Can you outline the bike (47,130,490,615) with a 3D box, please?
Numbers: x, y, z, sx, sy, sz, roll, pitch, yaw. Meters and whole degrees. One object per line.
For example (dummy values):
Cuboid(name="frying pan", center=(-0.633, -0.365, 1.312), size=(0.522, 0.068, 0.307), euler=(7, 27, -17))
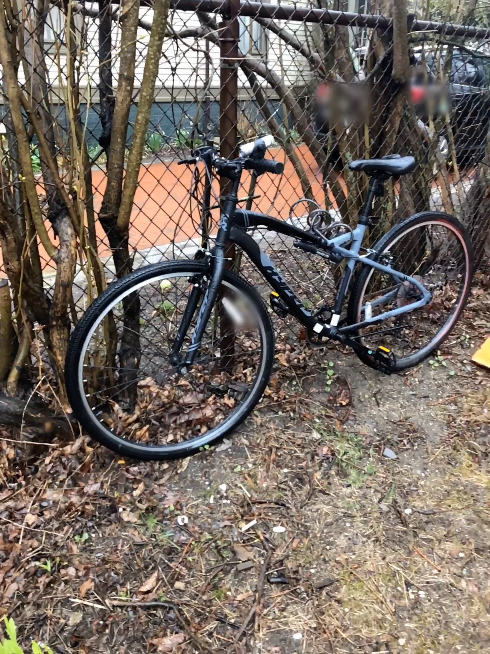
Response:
Cuboid(name="bike", center=(0.335, -0.011, 2.011), size=(1.888, 1.067, 0.539), euler=(-18, 32, -27))
